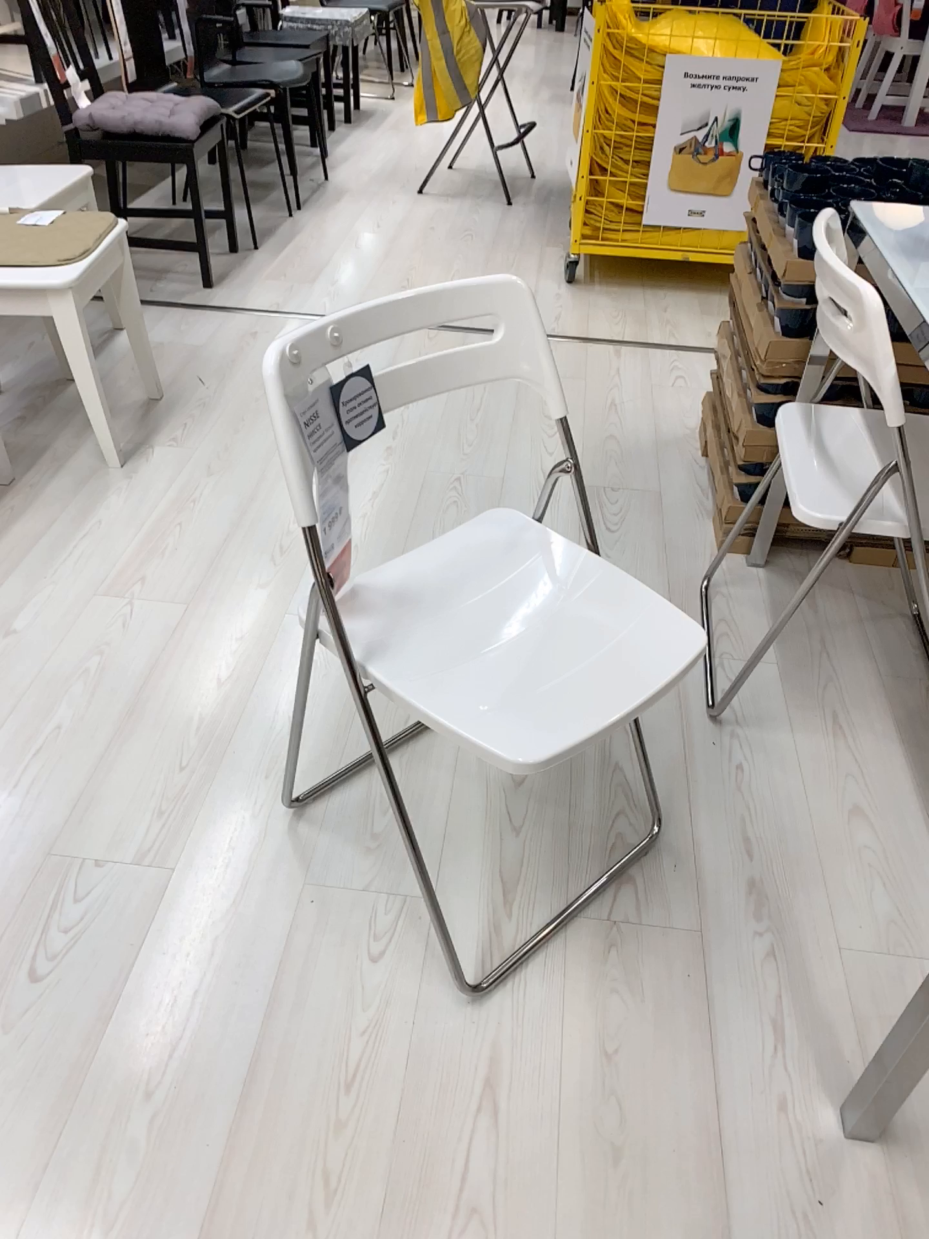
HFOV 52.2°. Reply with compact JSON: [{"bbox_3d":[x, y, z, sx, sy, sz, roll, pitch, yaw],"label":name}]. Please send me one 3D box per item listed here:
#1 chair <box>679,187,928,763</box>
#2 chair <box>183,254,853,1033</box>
[{"bbox_3d":[0.692,-0.240,1.563,0.510,0.726,0.533,6,38,4],"label":"chair"},{"bbox_3d":[0.044,0.005,1.228,0.512,0.716,0.501,-29,48,-34],"label":"chair"}]
